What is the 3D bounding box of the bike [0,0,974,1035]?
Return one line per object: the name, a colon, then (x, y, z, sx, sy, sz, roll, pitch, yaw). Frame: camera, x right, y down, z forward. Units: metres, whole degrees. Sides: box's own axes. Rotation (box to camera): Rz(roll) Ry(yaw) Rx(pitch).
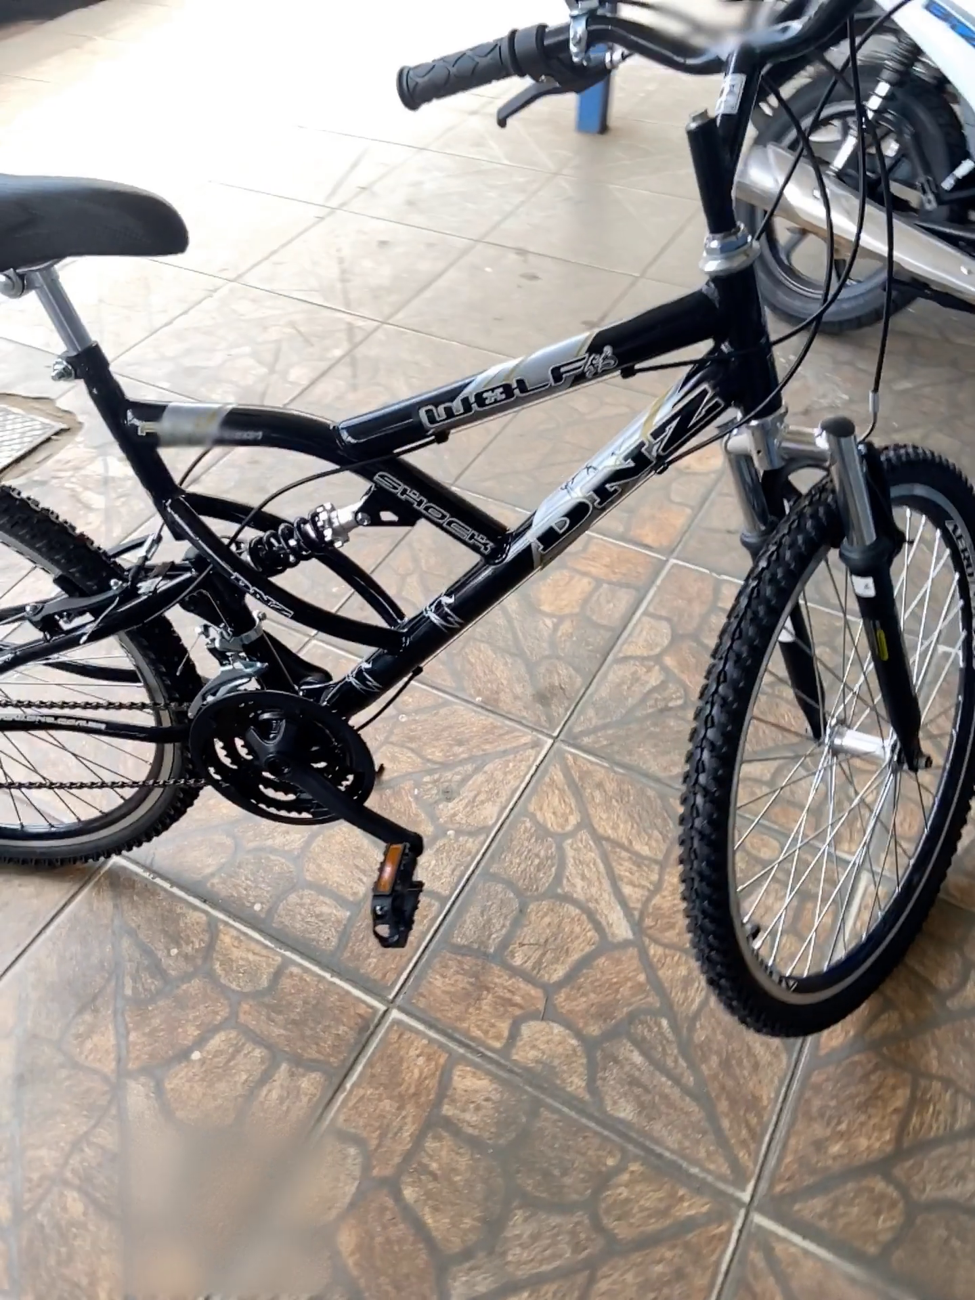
bike: (-0.198, -0.193, 0.990, 1.584, 1.155, 0.606, -4, 48, 2)
